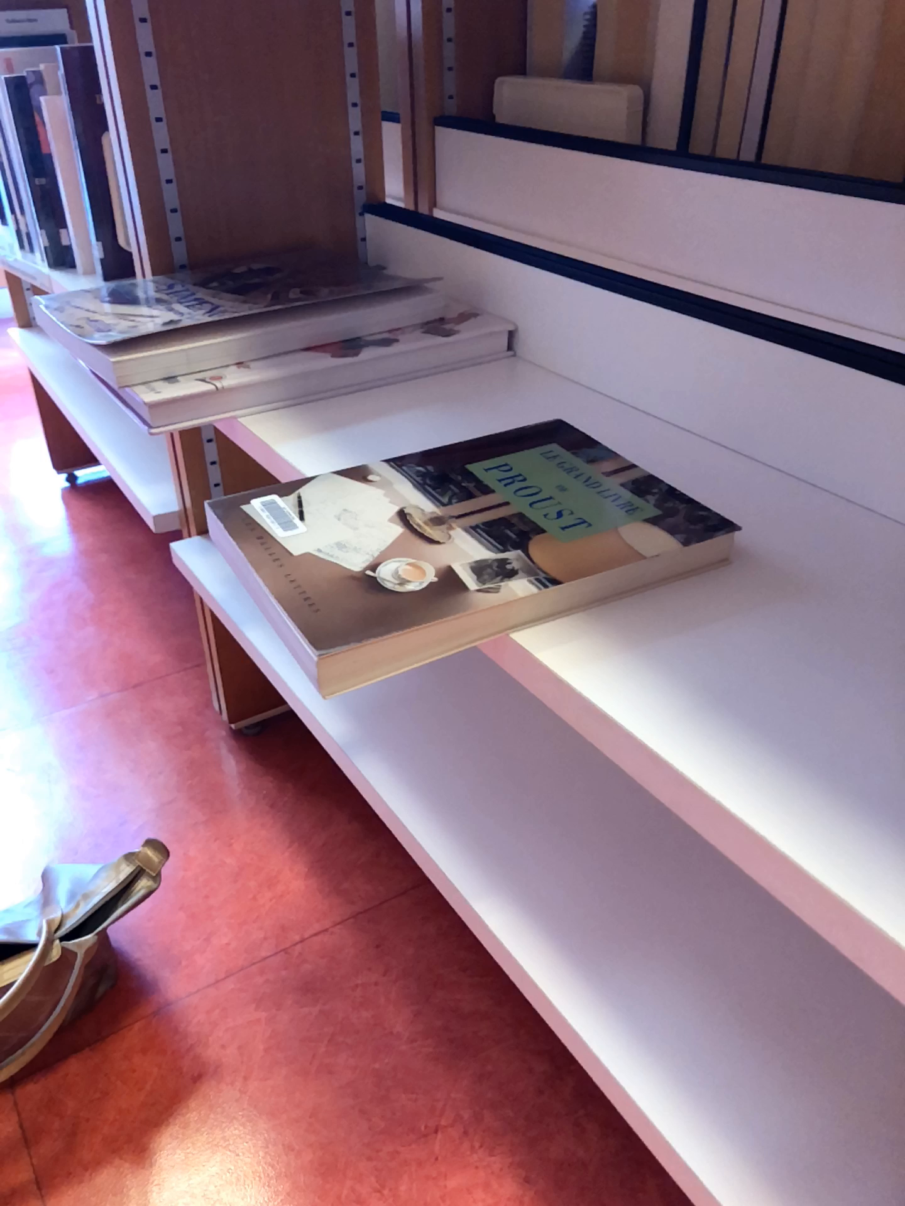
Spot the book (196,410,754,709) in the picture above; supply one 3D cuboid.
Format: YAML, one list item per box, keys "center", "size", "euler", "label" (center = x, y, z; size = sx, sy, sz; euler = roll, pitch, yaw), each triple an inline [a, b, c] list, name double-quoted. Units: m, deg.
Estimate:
- center: [0.006, -0.040, 0.542]
  size: [0.245, 0.030, 0.181]
  euler: [-16, 34, -21]
  label: "book"
